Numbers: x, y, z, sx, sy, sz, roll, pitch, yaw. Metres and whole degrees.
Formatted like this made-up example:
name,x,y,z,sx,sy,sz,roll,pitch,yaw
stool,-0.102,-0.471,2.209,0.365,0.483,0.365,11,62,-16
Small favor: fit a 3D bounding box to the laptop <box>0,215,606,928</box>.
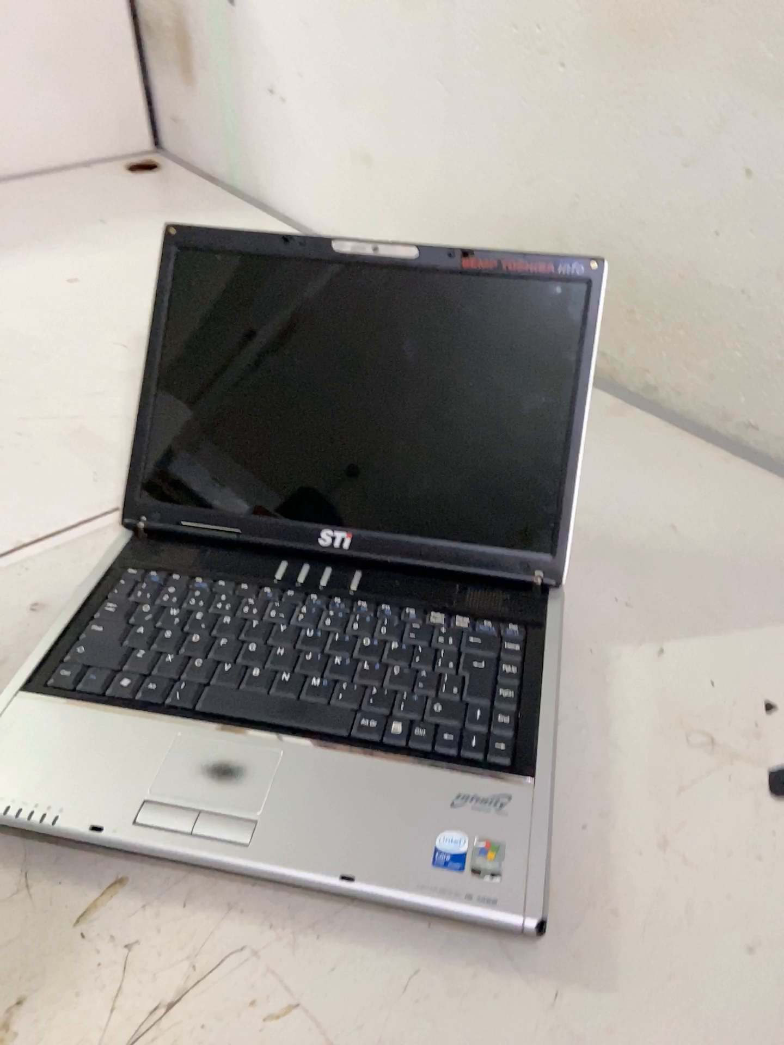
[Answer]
name,x,y,z,sx,sy,sz,roll,pitch,yaw
laptop,-0.049,-0.022,0.496,0.325,0.167,0.388,7,42,10
